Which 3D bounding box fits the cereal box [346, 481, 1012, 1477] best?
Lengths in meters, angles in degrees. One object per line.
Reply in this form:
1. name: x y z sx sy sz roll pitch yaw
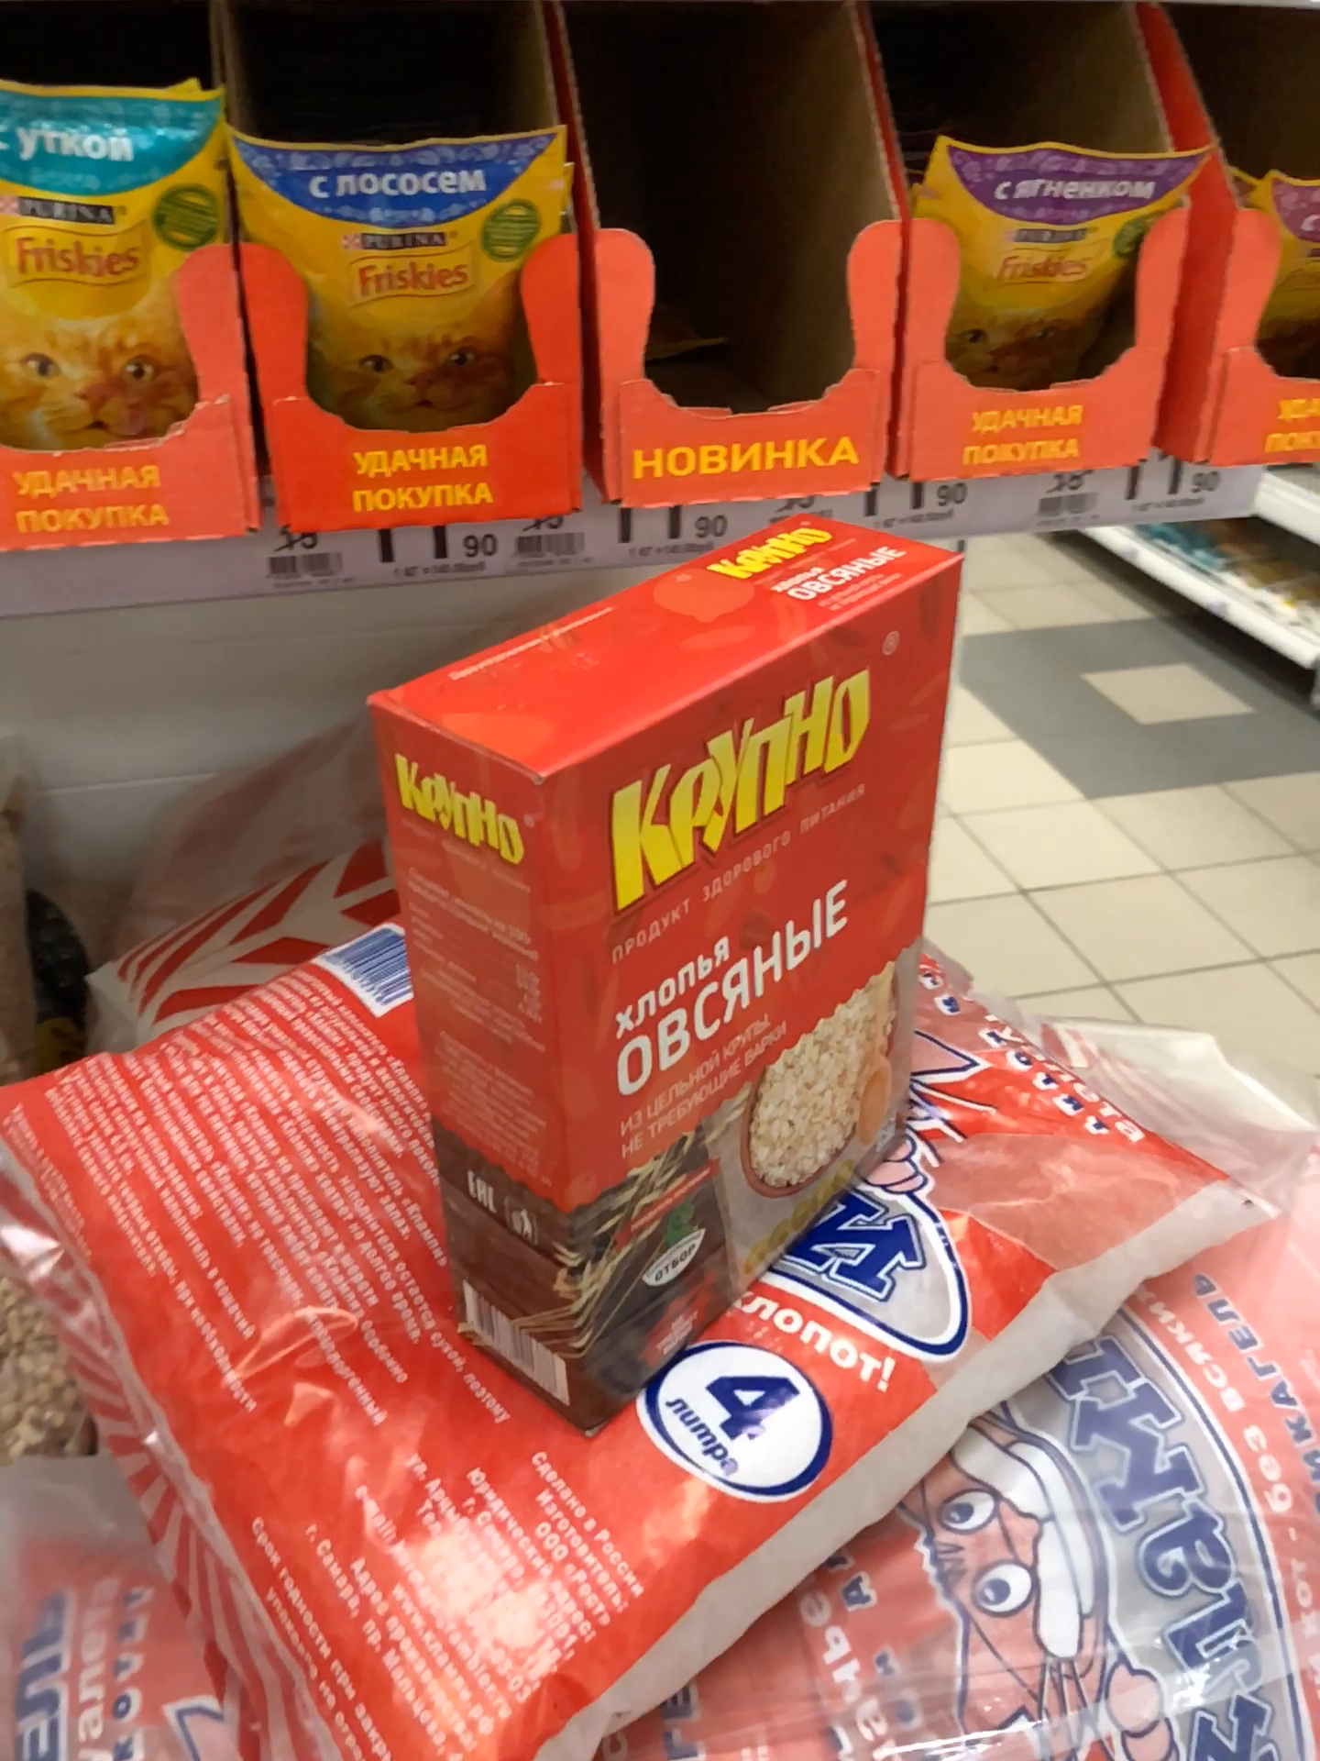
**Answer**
1. cereal box: 0.011 0.021 0.366 0.060 0.199 0.151 26 40 34
